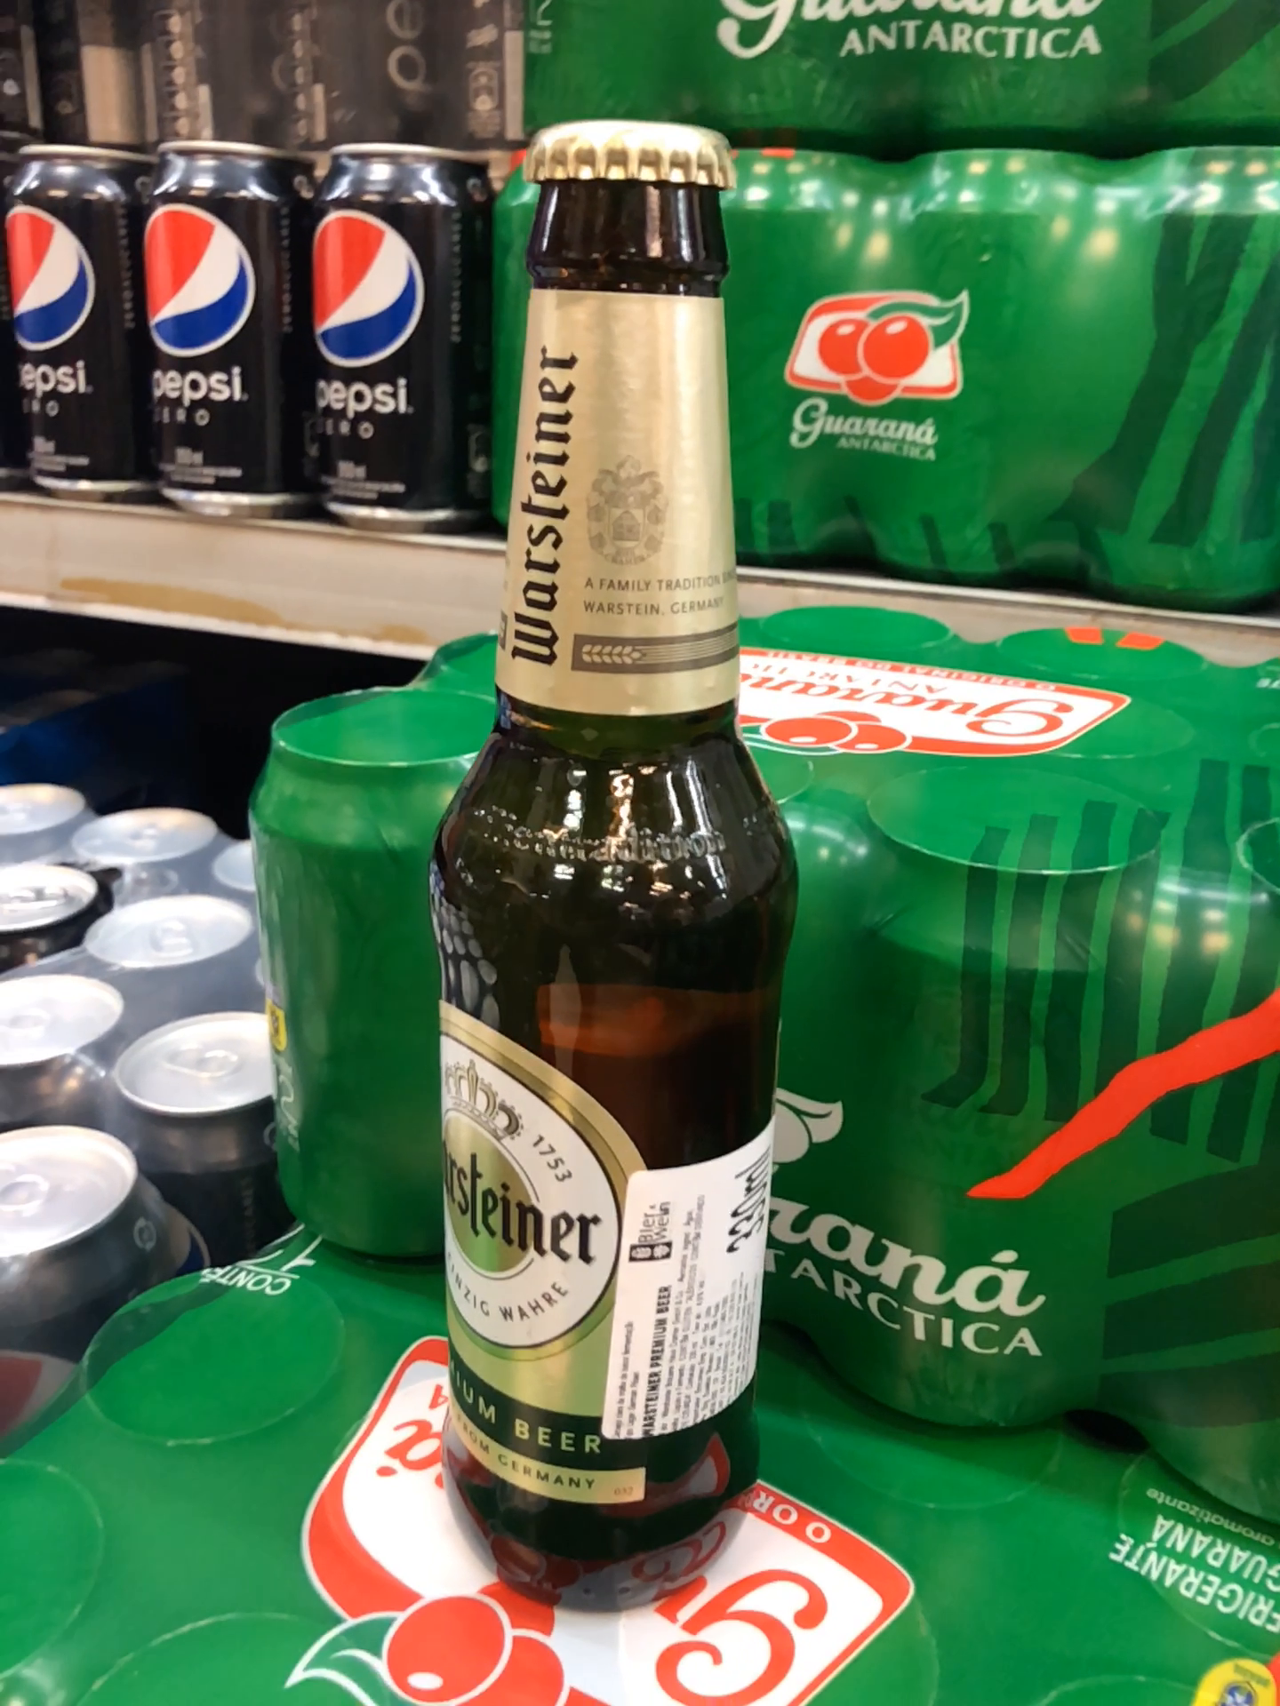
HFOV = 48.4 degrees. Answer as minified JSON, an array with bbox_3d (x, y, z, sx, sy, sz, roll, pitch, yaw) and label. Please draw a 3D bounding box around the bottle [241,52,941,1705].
[{"bbox_3d":[-0.010,0.011,0.222,0.060,0.228,0.070,-14,26,-33],"label":"bottle"}]
